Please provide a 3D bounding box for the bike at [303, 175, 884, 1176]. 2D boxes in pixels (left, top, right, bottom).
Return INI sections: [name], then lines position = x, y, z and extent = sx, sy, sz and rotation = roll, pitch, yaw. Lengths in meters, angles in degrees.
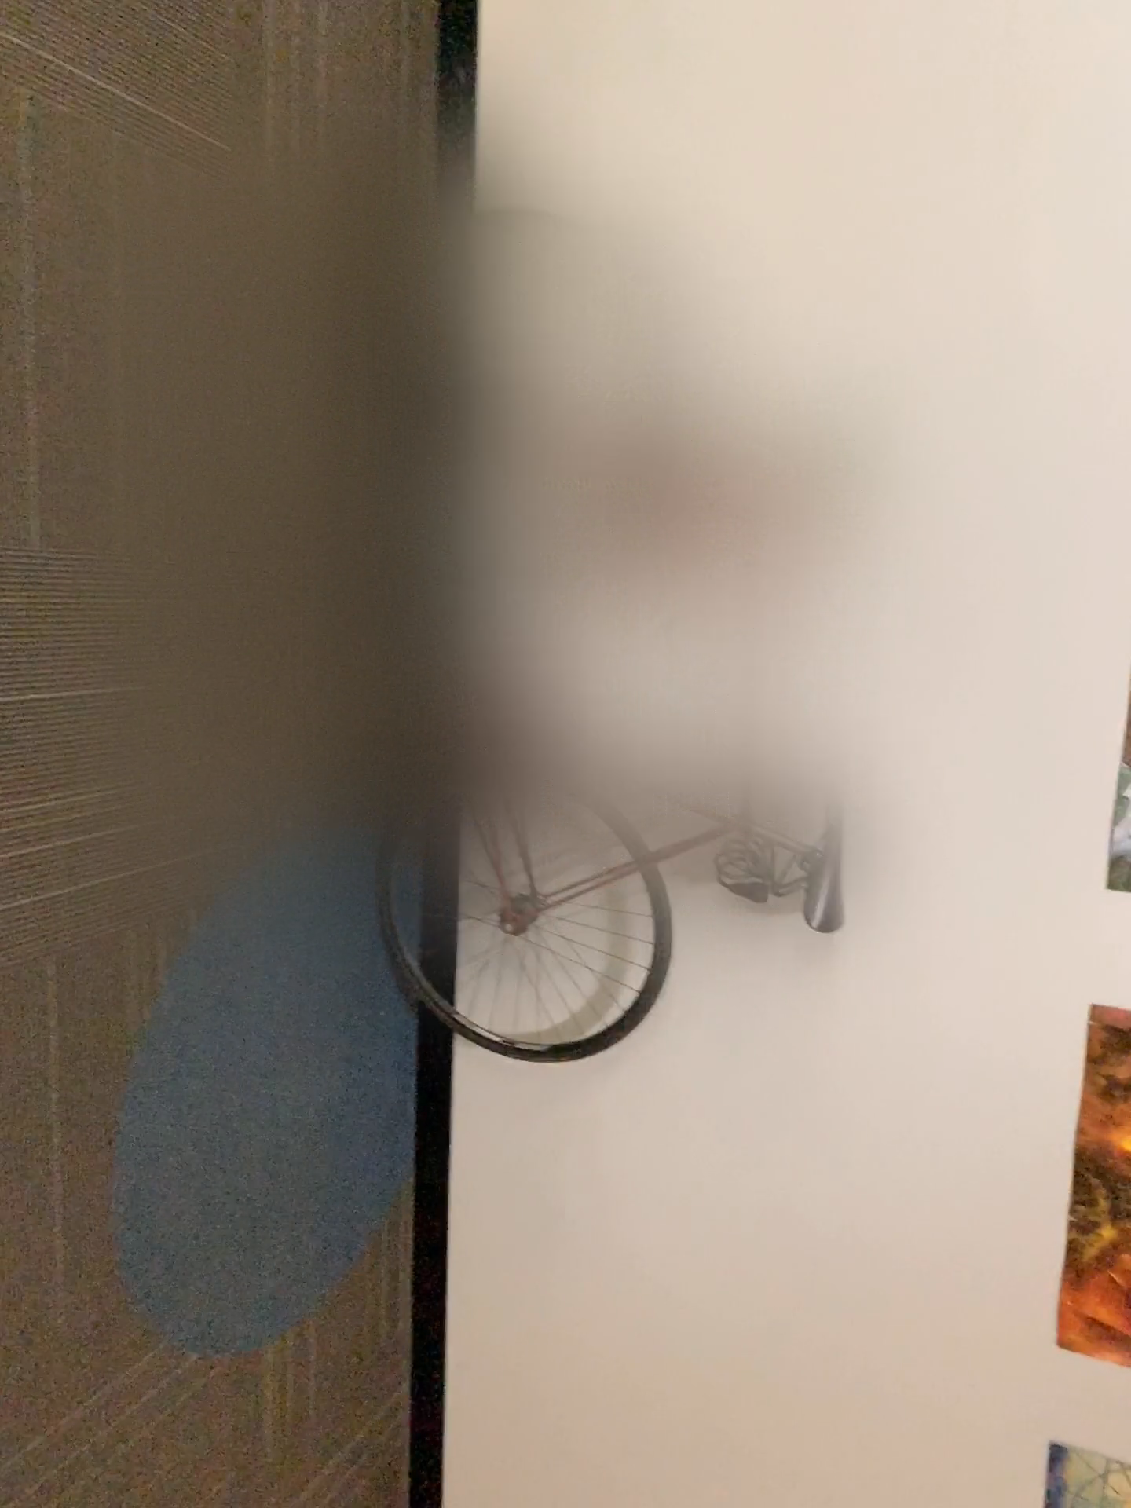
[bike]
position = 0.053, -0.142, 2.230
extent = 0.450, 0.909, 1.627
rotation = -29, 122, -61
